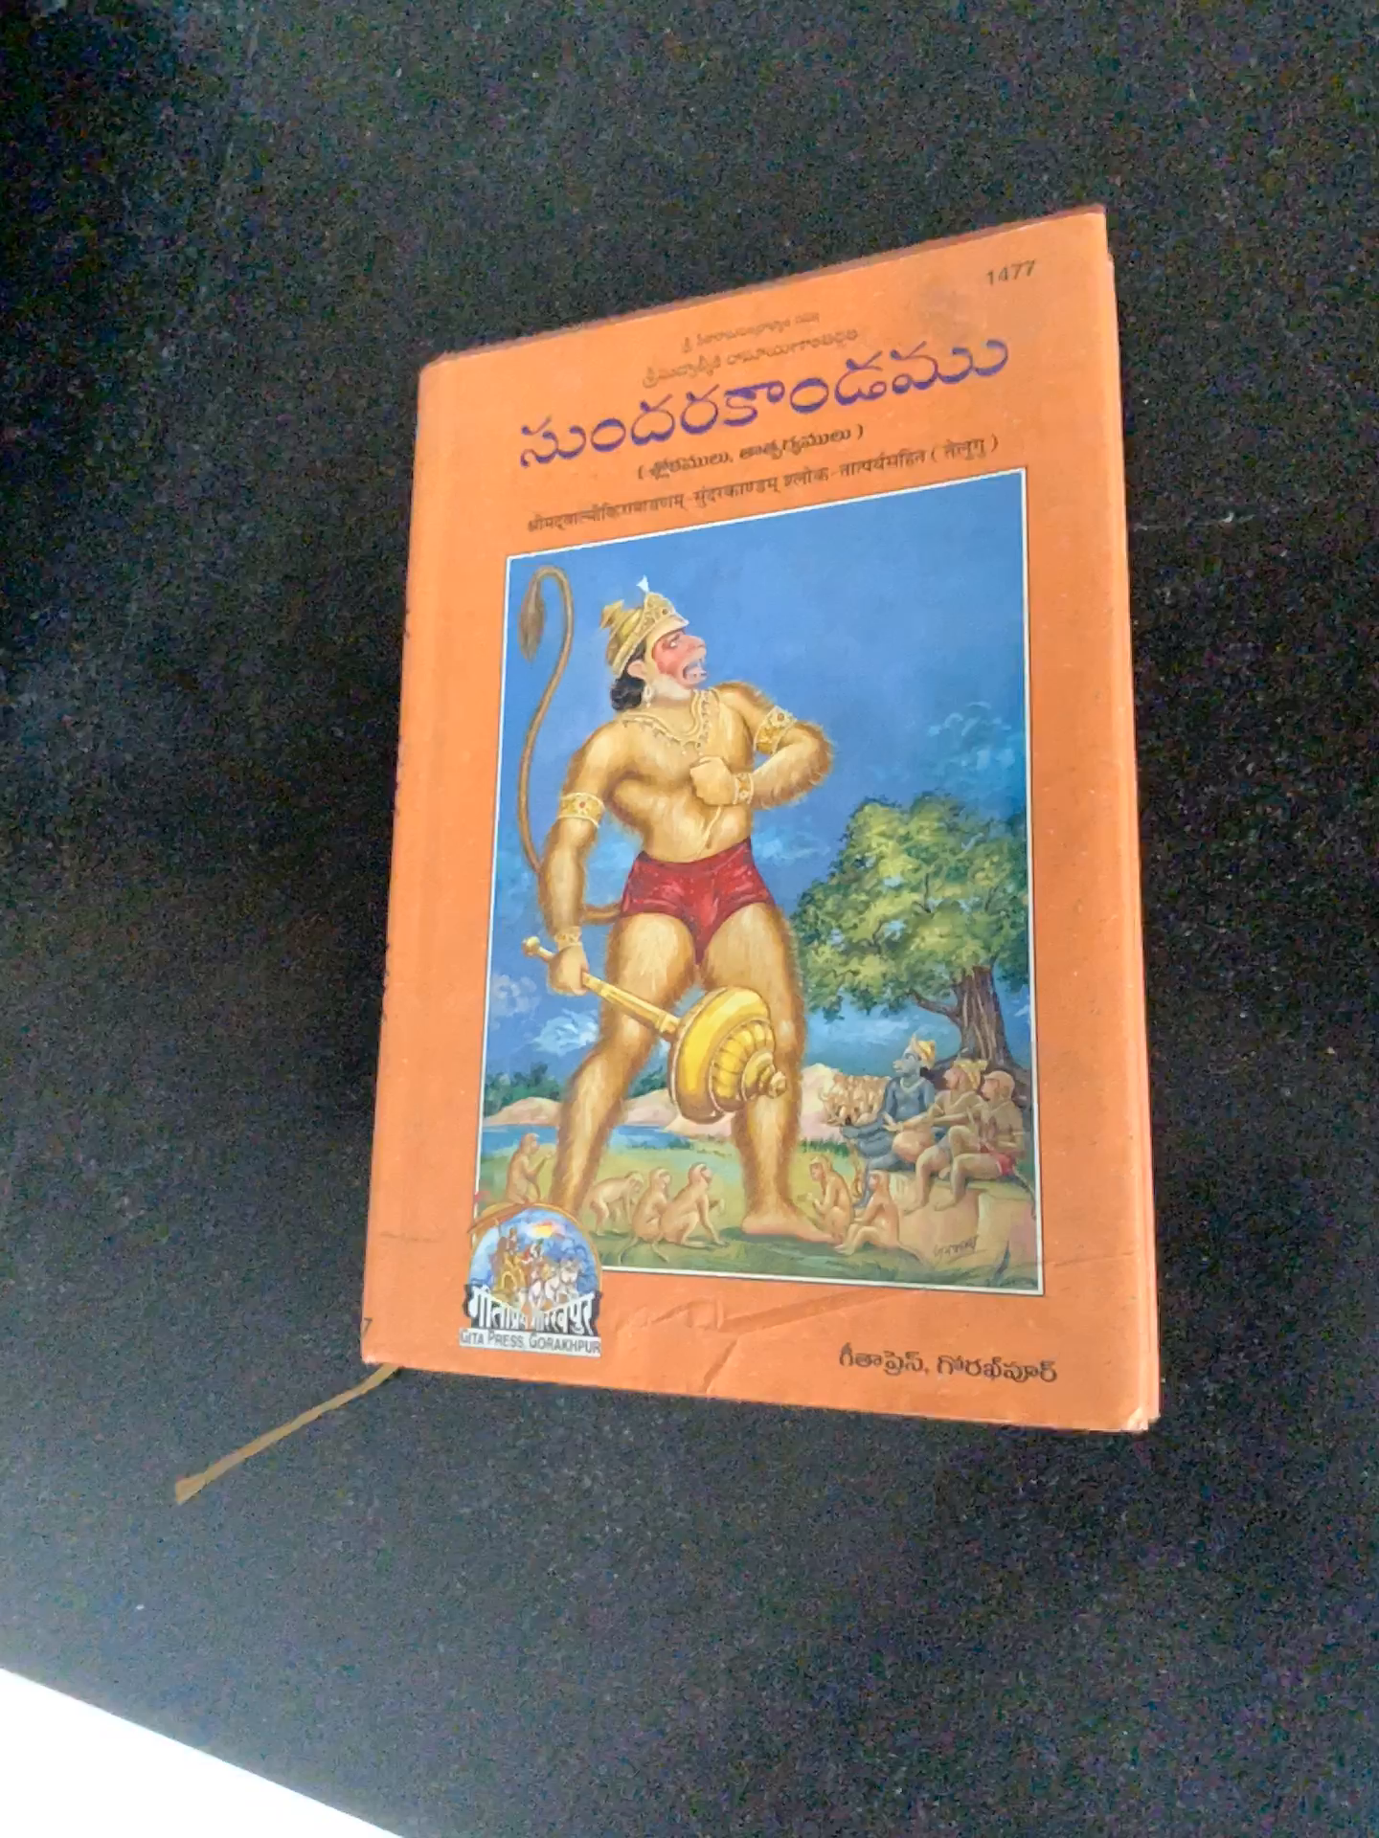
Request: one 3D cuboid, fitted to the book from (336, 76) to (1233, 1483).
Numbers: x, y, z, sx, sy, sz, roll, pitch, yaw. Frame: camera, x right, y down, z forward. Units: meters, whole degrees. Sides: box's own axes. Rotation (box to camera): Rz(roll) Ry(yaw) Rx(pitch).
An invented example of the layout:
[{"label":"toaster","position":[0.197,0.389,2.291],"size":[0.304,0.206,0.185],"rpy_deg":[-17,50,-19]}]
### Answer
[{"label":"book","position":[0.020,-0.035,0.350],"size":[0.200,0.040,0.300],"rpy_deg":[-2,78,23]}]
